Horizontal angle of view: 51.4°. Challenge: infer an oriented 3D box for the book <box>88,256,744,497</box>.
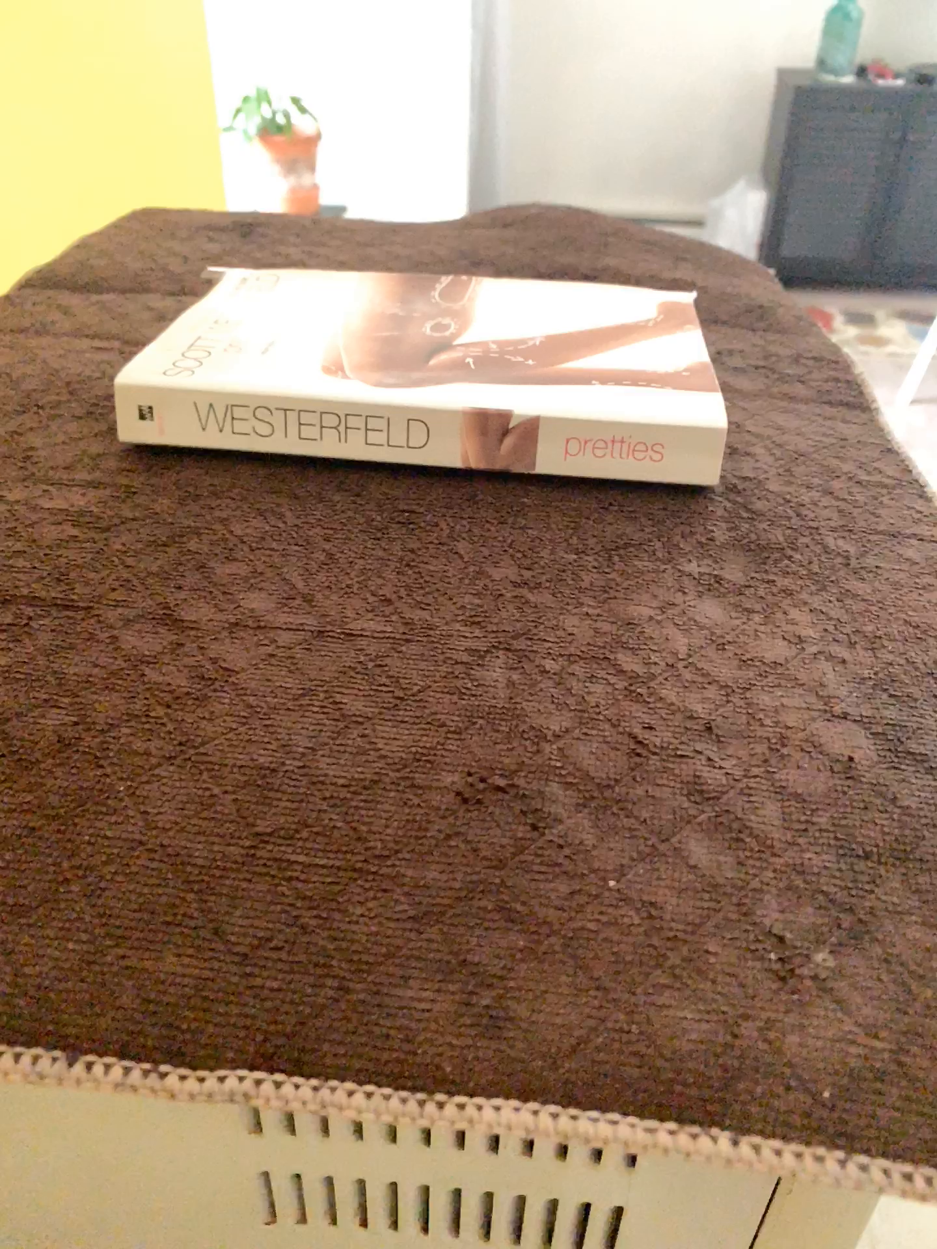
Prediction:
[{"bbox_3d":[-0.013,-0.108,0.394,0.220,0.030,0.151,5,35,3],"label":"book"}]
